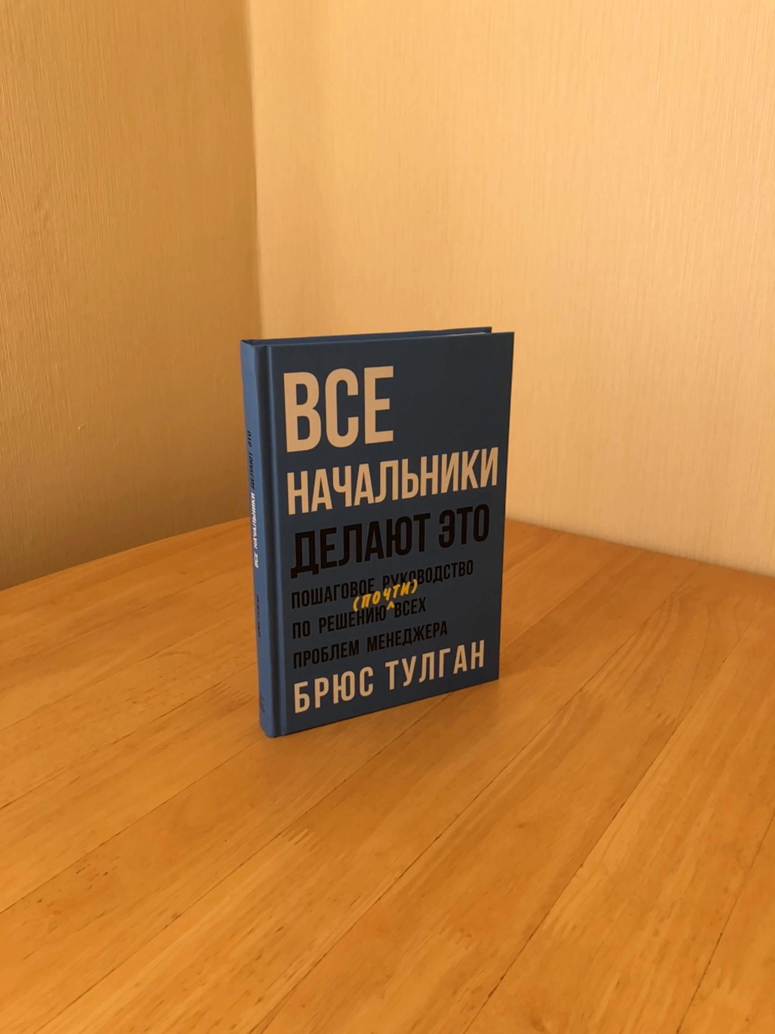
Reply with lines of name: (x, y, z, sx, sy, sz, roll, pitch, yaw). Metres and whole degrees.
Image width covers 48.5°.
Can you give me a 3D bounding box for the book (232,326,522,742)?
book: (-0.002, 0.007, 0.465, 0.150, 0.208, 0.025, -8, 19, -24)
